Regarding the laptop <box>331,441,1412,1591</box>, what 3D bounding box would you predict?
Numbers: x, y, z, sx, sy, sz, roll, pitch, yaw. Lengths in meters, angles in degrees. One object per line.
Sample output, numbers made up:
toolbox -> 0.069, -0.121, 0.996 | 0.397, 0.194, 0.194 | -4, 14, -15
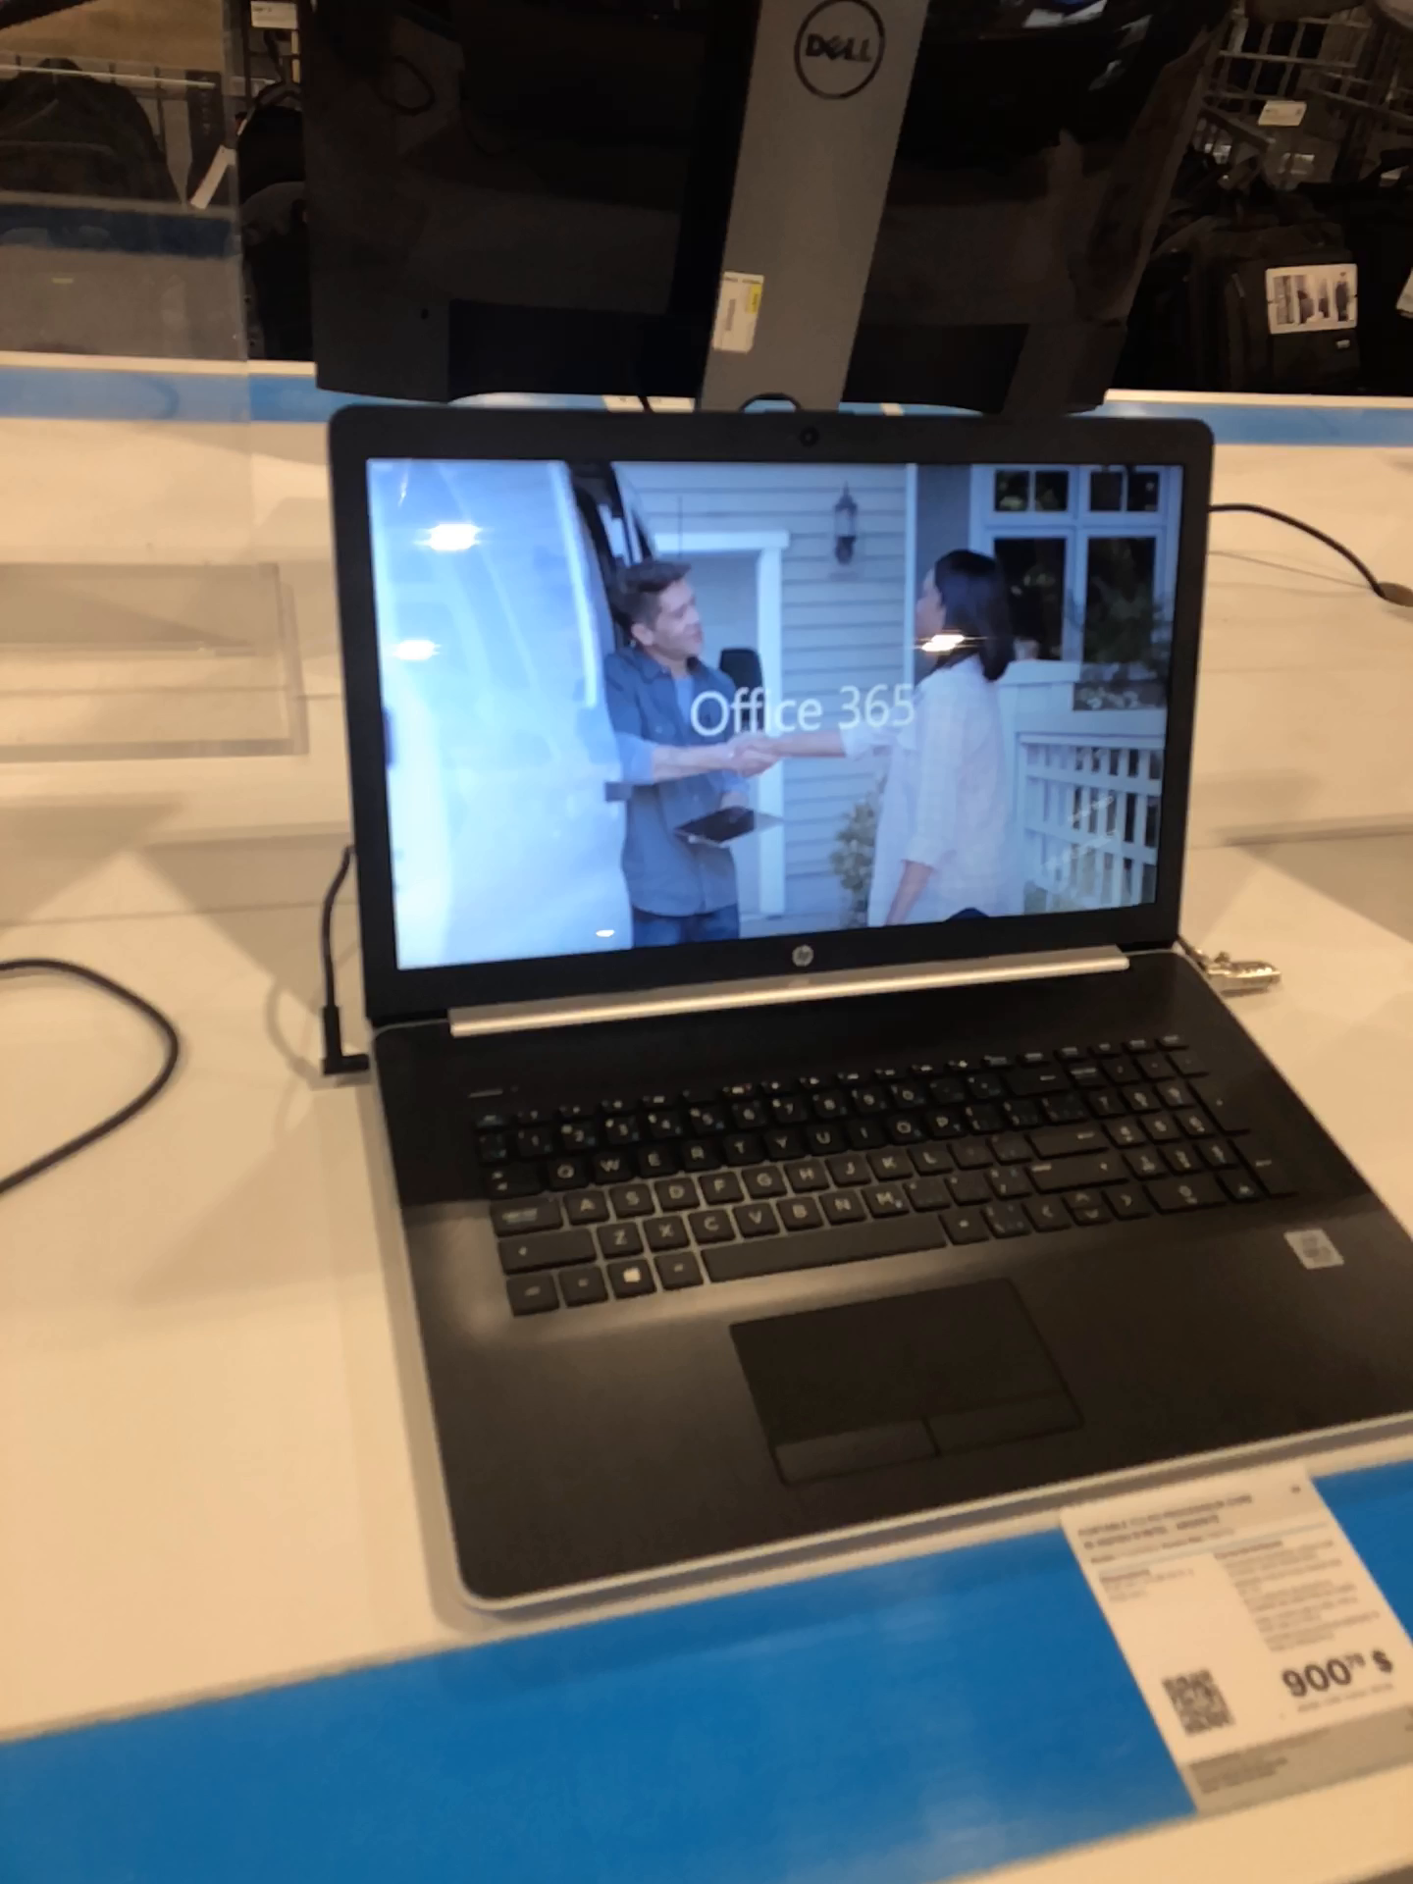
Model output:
laptop -> 0.082, -0.015, 0.616 | 0.411, 0.242, 0.382 | -5, 38, -16
